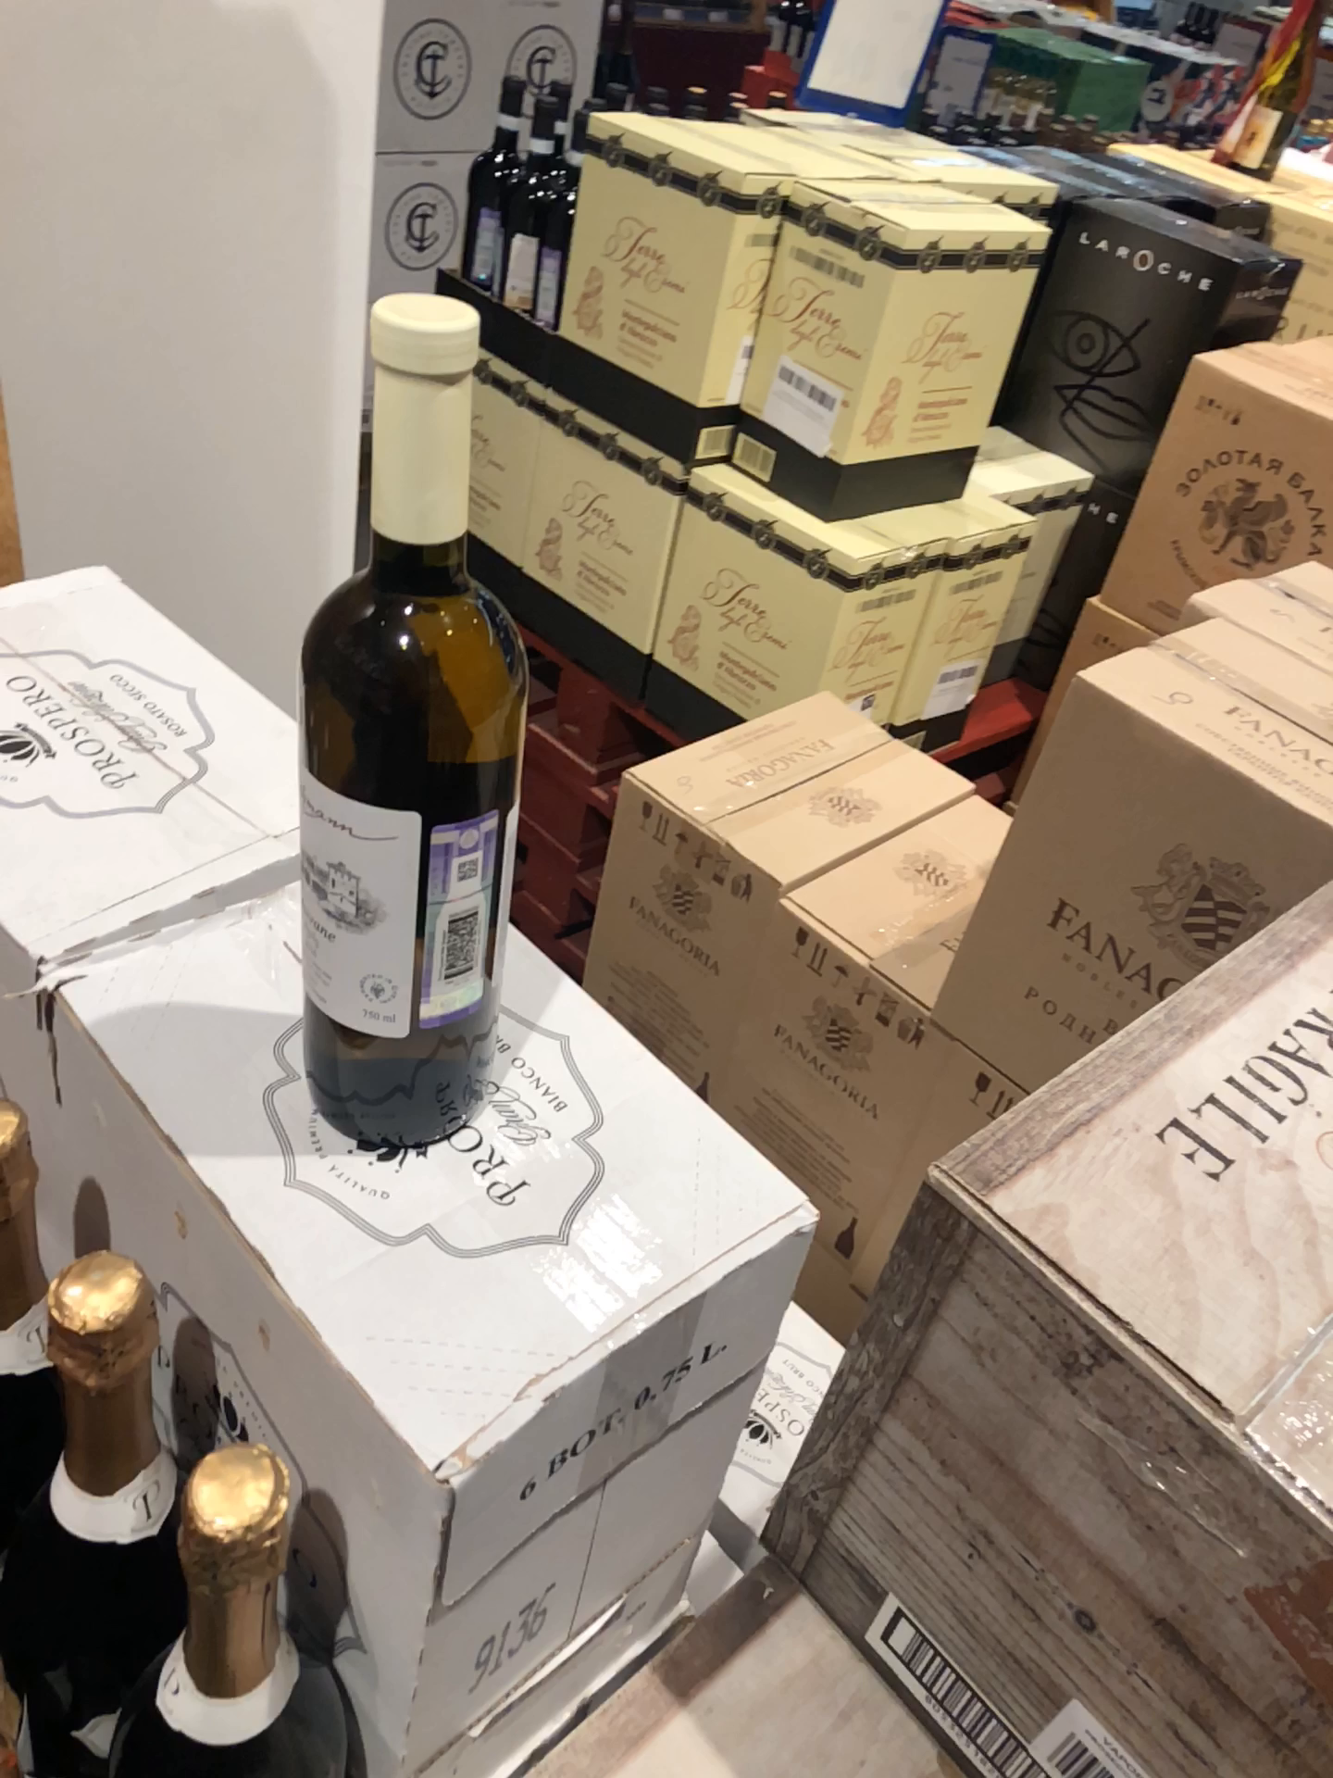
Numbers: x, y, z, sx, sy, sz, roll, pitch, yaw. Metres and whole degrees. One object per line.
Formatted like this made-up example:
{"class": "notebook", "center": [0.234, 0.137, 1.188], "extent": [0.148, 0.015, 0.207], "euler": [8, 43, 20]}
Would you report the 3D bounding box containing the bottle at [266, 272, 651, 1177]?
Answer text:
{"class": "bottle", "center": [-0.081, -0.040, 0.482], "extent": [0.073, 0.288, 0.080], "euler": [-12, 43, -30]}
